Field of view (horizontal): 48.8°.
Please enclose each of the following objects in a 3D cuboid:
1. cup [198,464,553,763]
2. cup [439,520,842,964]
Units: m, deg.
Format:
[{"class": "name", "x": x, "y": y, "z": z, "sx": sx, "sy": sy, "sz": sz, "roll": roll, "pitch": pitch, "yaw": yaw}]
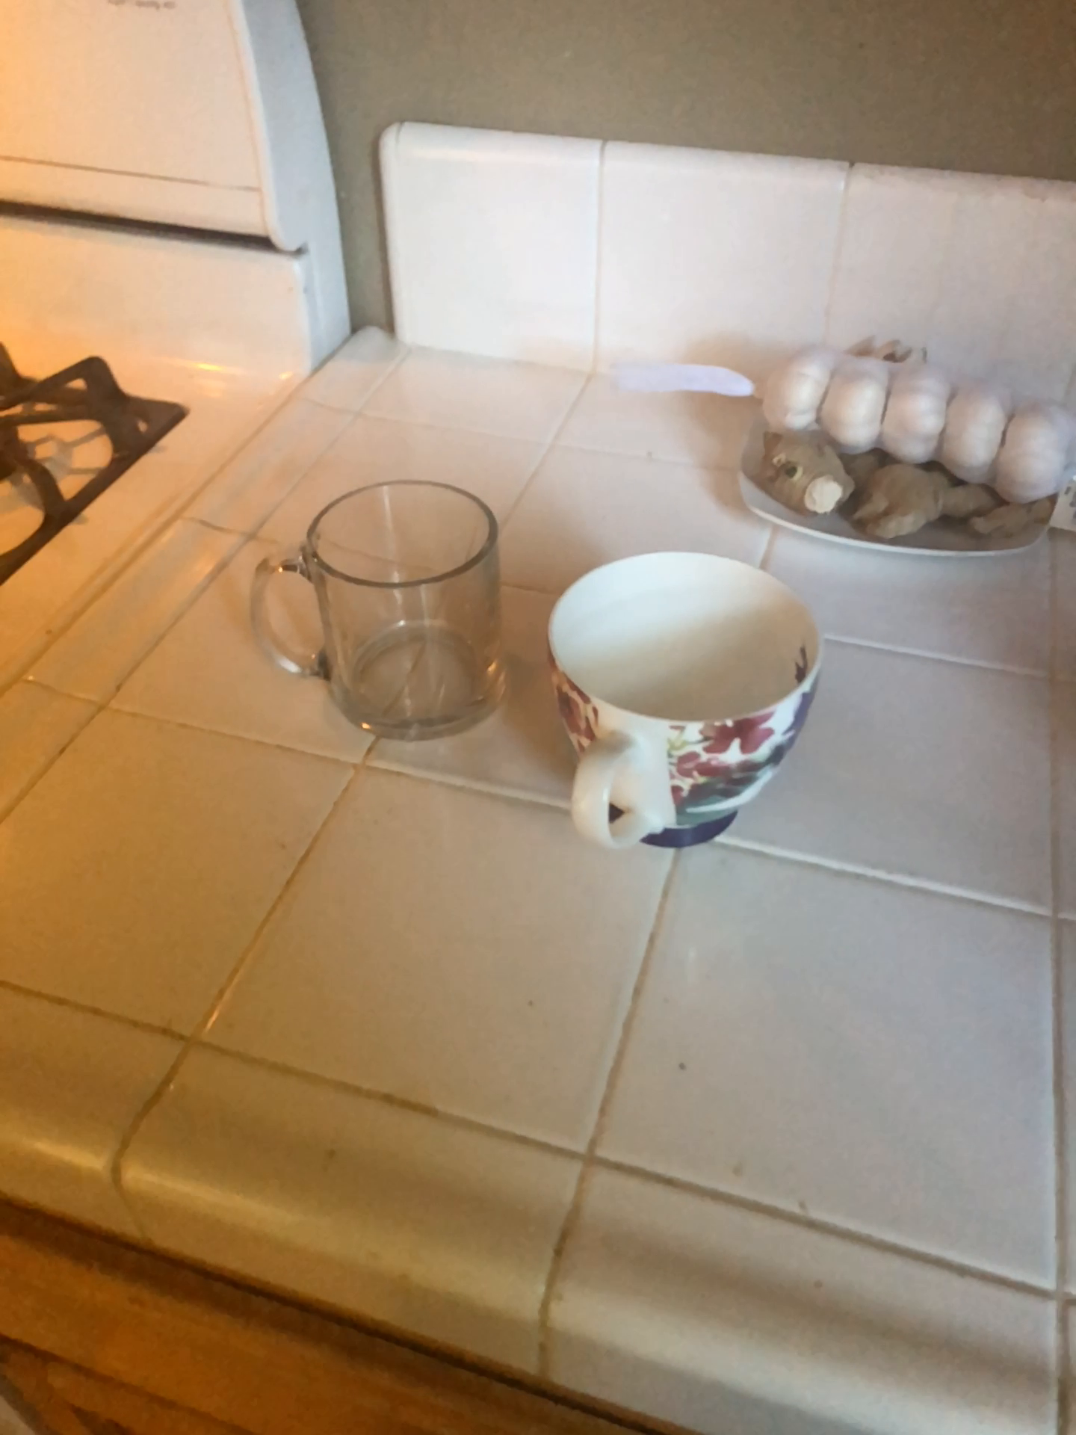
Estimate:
[{"class": "cup", "x": -0.065, "y": -0.049, "z": 0.534, "sx": 0.130, "sy": 0.079, "sz": 0.101, "roll": 5, "pitch": 43, "yaw": 6}, {"class": "cup", "x": 0.044, "y": 0.003, "z": 0.474, "sx": 0.110, "sy": 0.079, "sz": 0.141, "roll": 16, "pitch": 45, "yaw": 18}]
